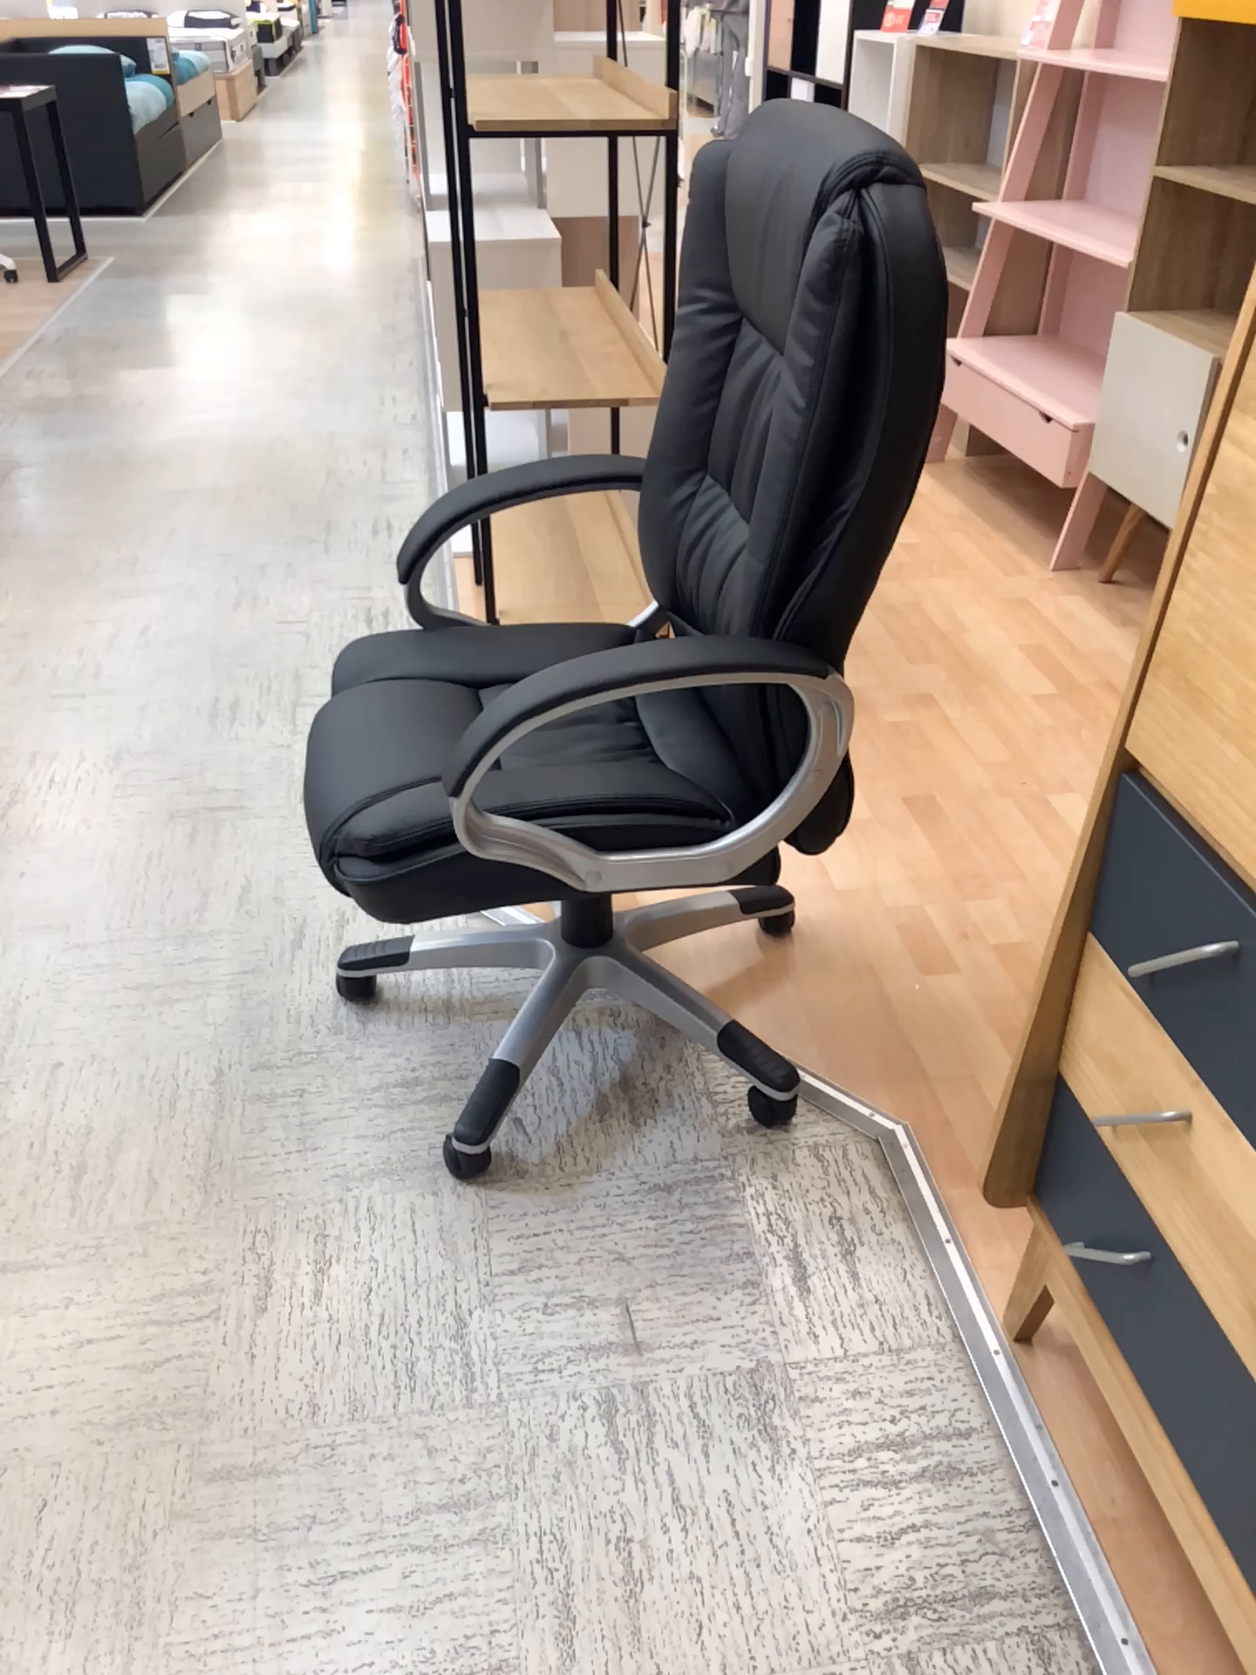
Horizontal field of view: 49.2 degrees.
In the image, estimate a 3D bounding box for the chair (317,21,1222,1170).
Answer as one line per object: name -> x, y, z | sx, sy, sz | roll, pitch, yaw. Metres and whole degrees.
chair -> 0.043, -0.308, 1.592 | 0.681, 1.064, 0.764 | -2, 30, -8
